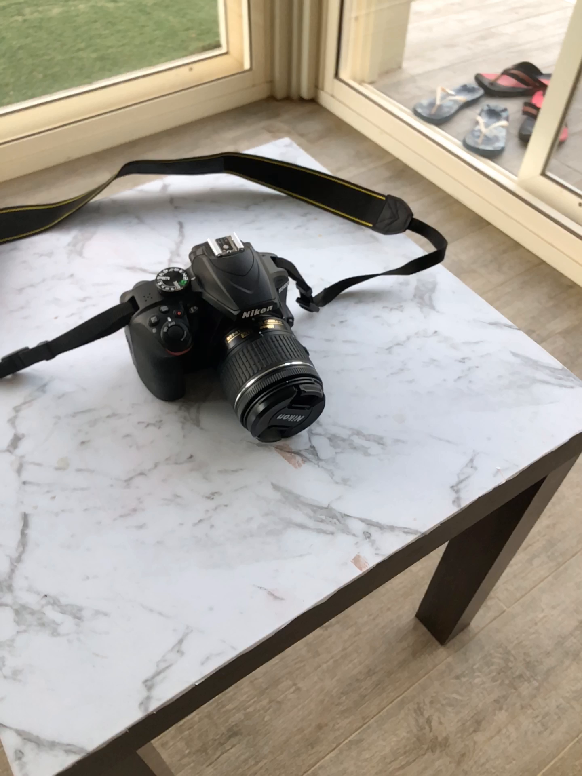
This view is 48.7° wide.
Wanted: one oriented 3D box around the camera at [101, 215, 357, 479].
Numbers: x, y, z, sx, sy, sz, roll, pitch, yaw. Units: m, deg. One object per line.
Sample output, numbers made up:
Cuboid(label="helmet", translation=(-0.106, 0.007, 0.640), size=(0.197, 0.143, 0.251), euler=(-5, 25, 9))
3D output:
Cuboid(label="camera", translation=(-0.045, -0.033, 0.447), size=(0.121, 0.076, 0.138), euler=(-21, 57, -17))
